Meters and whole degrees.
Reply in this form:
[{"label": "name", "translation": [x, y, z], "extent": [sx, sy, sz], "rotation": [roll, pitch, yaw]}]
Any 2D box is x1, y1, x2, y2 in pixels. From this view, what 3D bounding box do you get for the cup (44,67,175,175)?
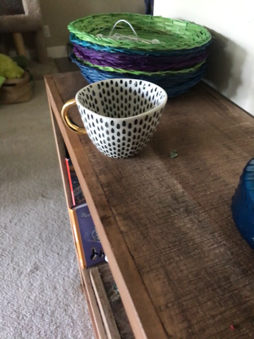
[{"label": "cup", "translation": [-0.015, -0.067, 0.356], "extent": [0.130, 0.079, 0.101], "rotation": [11, 41, 13]}]
